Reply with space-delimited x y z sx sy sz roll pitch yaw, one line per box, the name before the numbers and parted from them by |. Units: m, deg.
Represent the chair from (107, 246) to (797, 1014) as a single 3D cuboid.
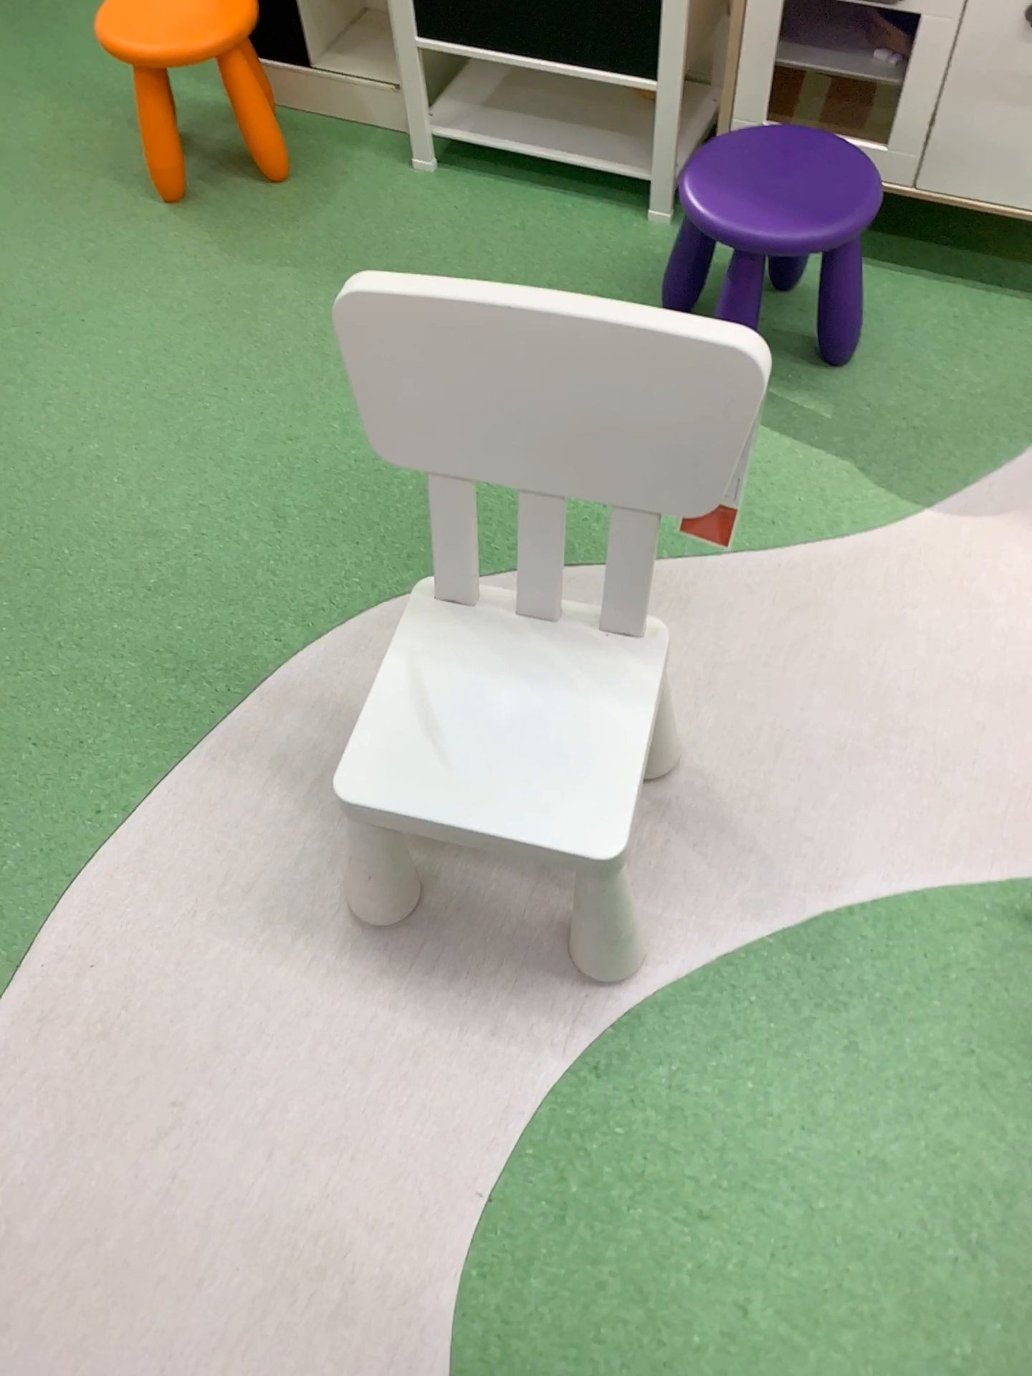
chair | -0.010 -0.021 1.061 0.420 0.599 0.441 12 59 11
